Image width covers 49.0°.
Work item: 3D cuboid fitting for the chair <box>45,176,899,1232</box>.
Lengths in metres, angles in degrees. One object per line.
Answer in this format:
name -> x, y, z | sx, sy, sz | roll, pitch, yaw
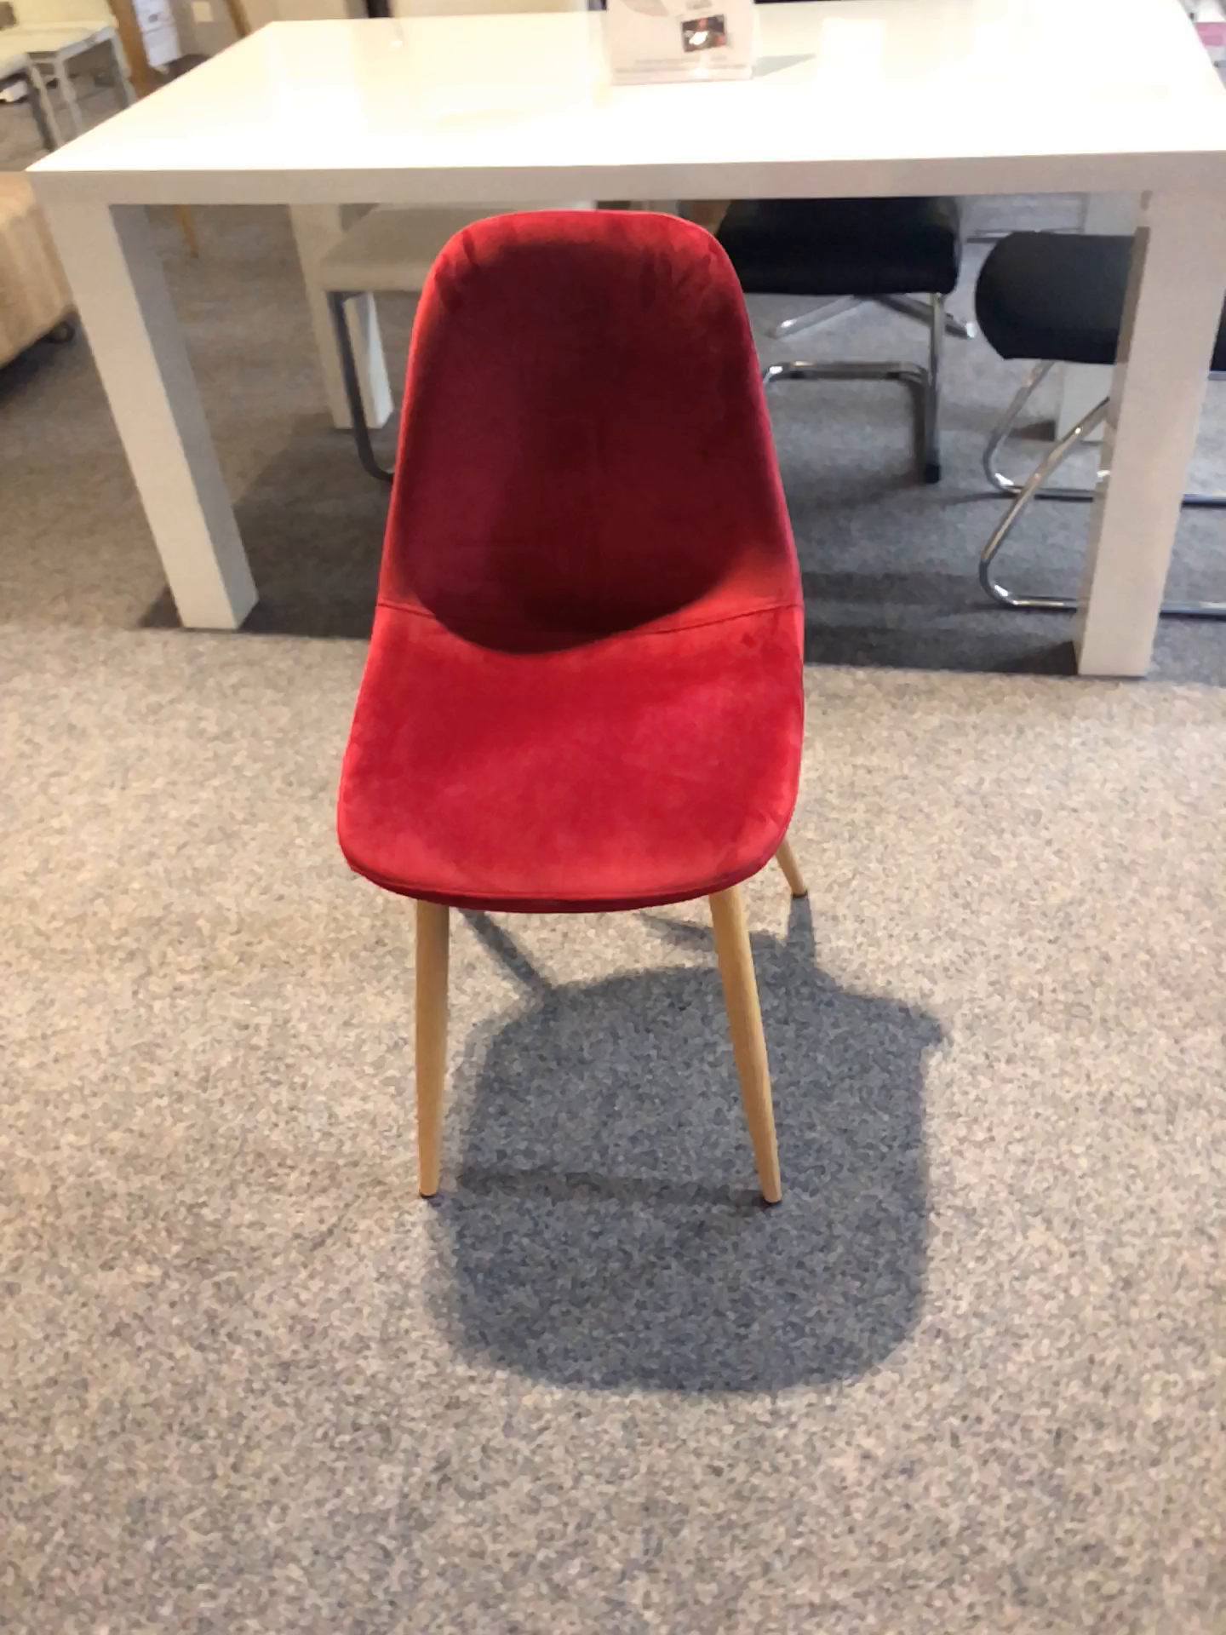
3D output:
chair -> -0.039, -0.085, 1.290 | 0.530, 0.816, 0.553 | 0, 41, 7
